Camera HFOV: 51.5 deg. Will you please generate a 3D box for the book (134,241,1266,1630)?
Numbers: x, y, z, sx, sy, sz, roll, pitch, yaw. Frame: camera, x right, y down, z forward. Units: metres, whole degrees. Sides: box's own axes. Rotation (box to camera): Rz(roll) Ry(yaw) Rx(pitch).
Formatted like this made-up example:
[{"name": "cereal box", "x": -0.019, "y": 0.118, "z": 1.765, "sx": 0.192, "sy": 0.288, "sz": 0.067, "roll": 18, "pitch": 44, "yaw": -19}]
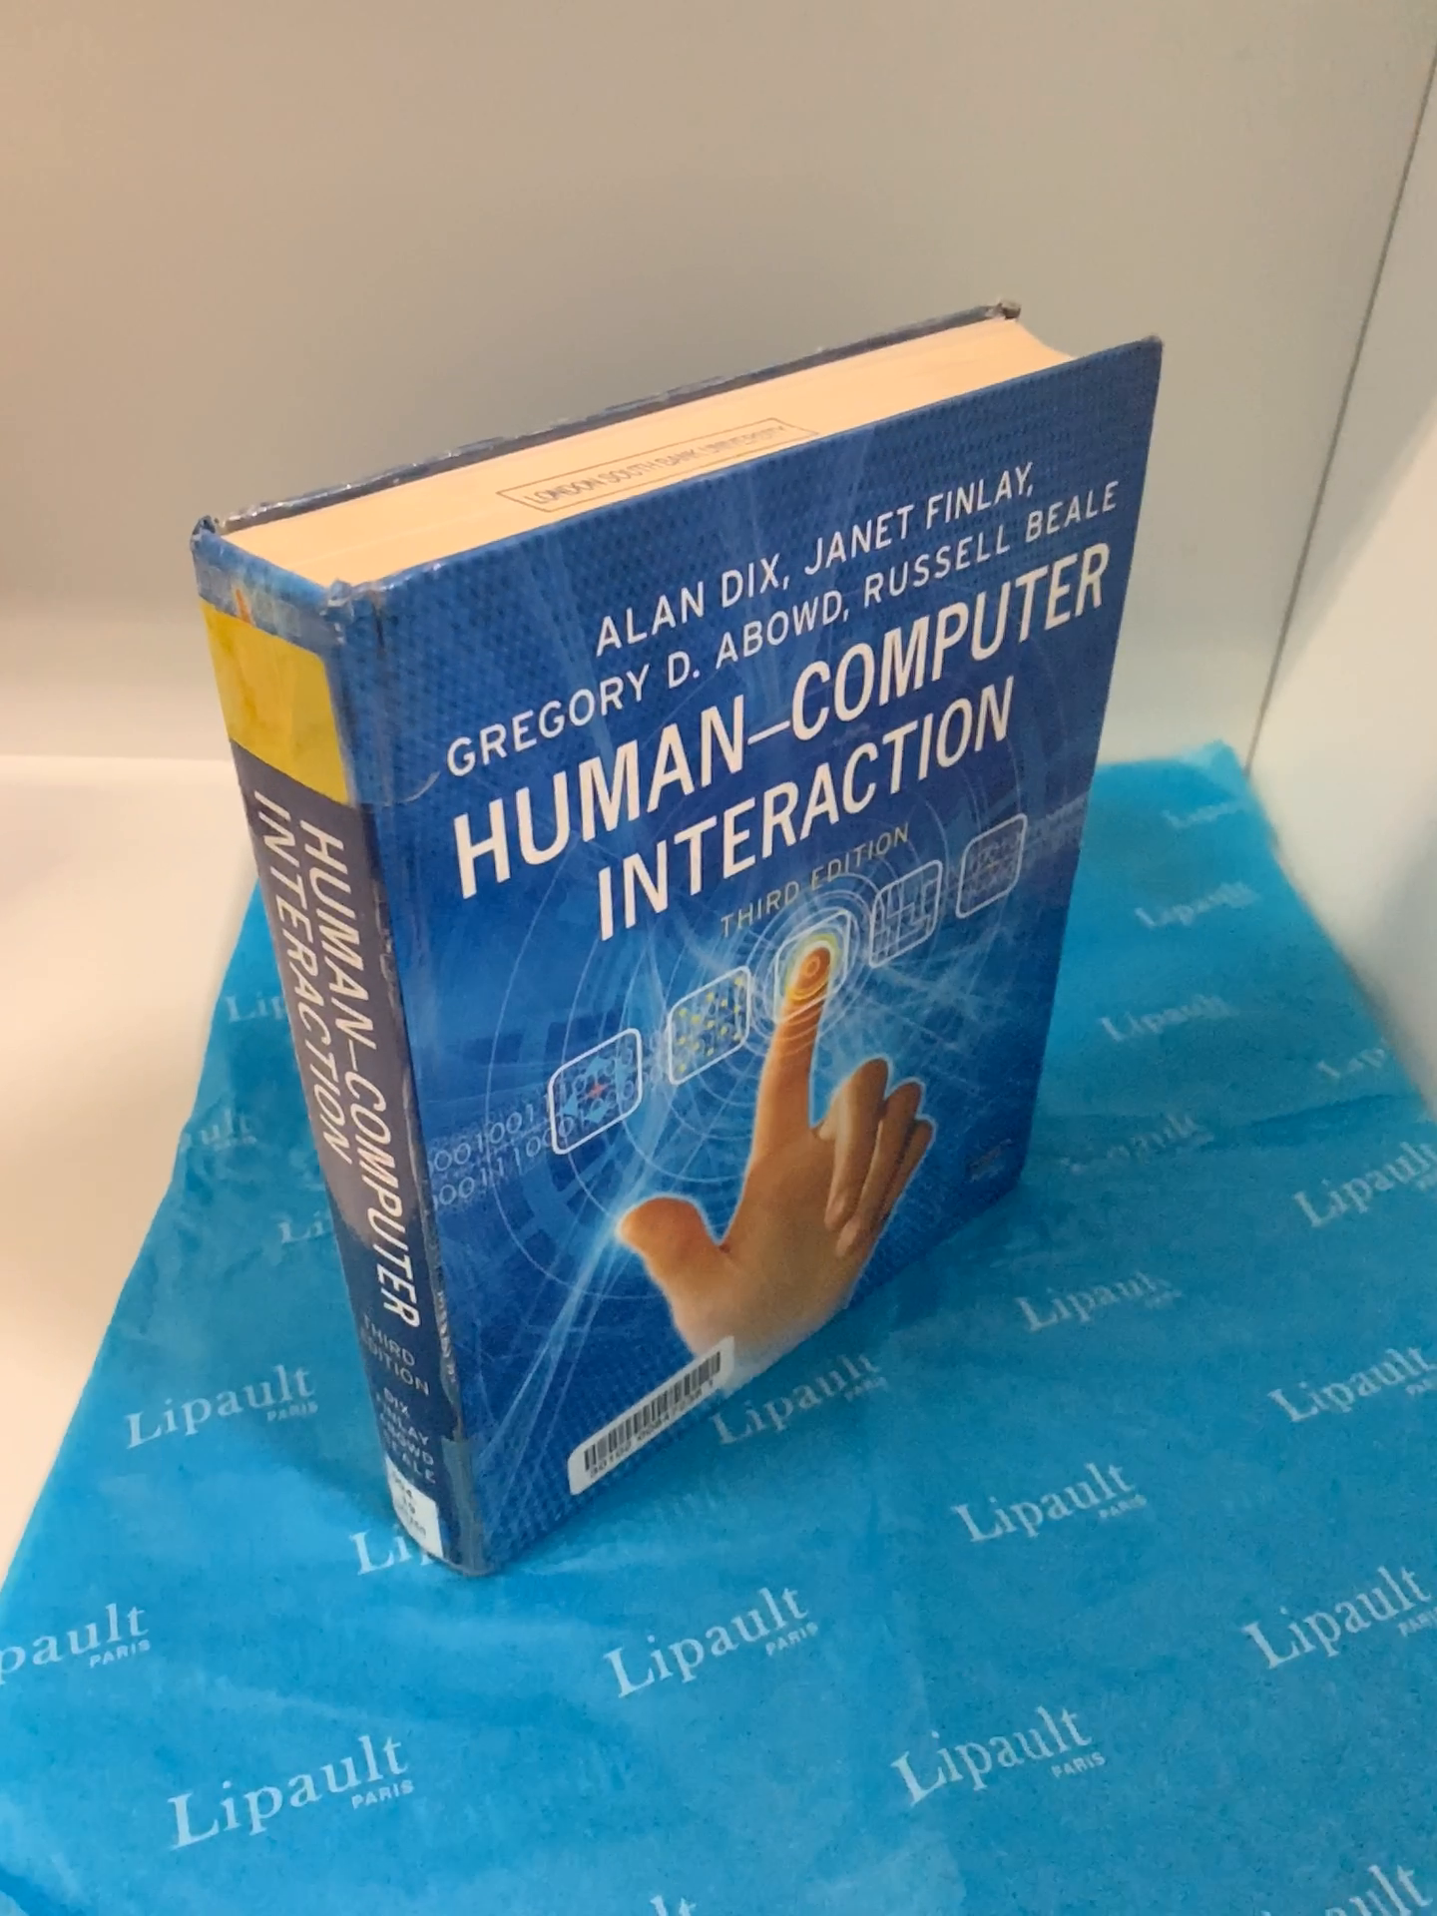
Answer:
[{"name": "book", "x": 0.009, "y": -0.005, "z": 0.337, "sx": 0.221, "sy": 0.257, "sz": 0.050, "roll": -27, "pitch": 46, "yaw": -34}]
